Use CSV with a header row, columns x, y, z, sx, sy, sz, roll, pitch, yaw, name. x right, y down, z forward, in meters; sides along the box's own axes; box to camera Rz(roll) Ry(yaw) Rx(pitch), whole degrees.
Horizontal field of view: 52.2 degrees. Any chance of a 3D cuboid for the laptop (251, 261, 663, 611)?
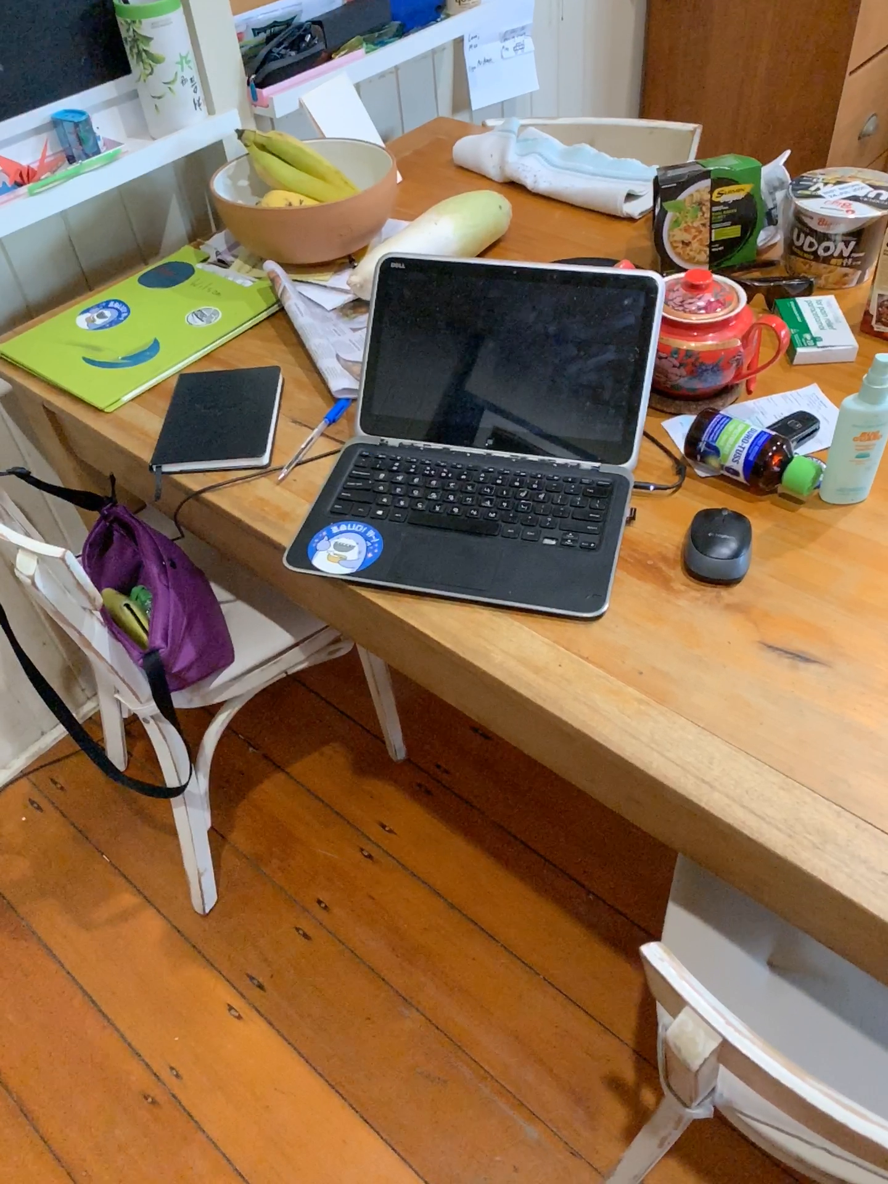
x,y,z,sx,sy,sz,roll,pitch,yaw,name
0.035,-0.172,0.895,0.303,0.139,0.340,8,48,13,laptop
